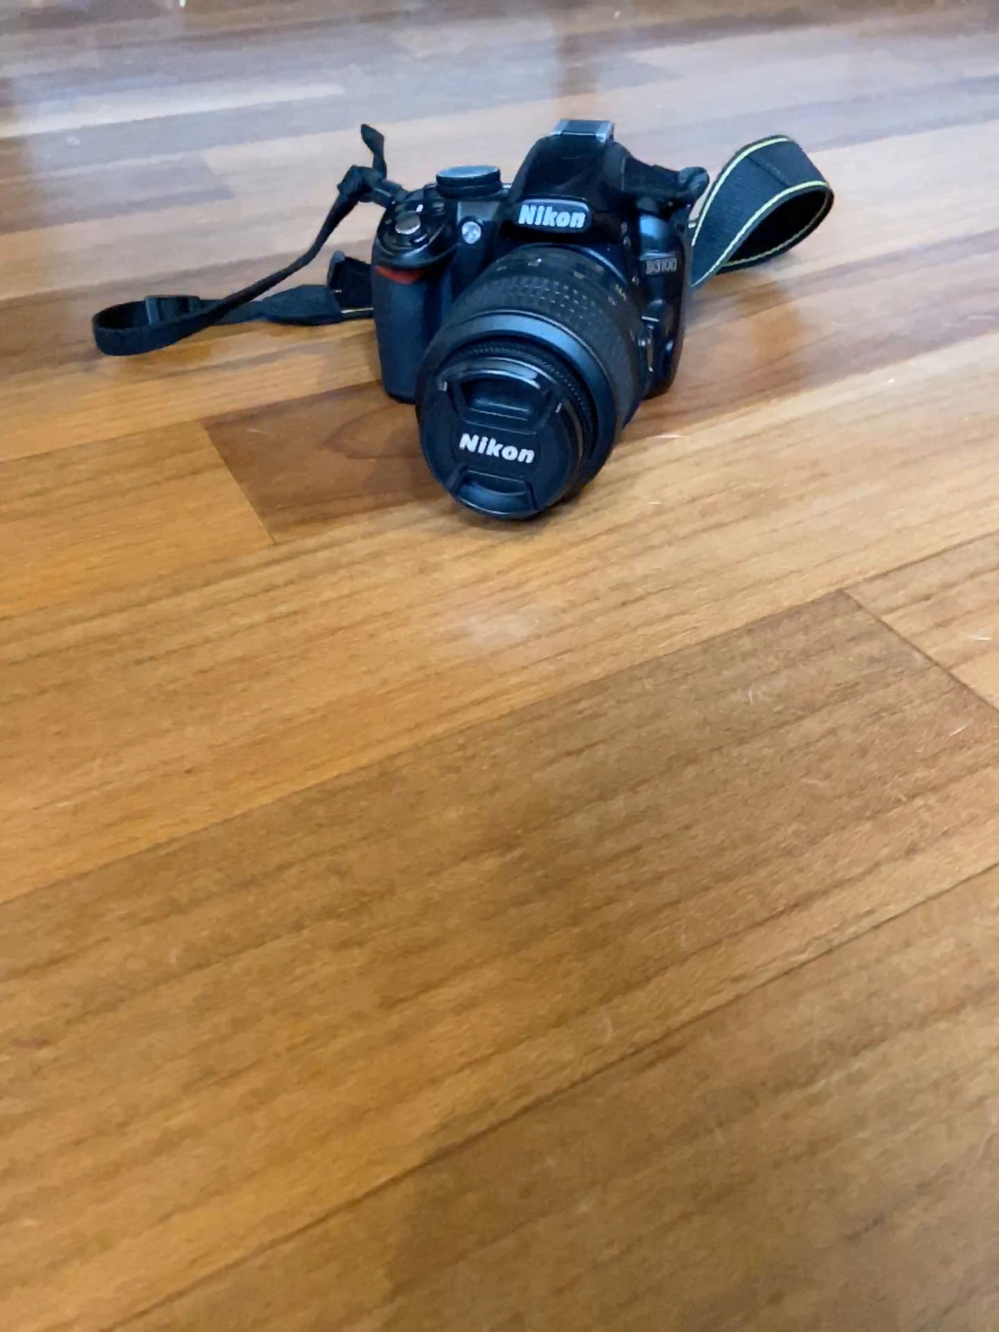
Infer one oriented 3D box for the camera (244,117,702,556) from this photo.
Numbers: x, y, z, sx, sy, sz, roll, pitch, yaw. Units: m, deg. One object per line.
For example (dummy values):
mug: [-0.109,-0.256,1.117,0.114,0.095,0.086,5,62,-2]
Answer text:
camera: [0.003,-0.131,0.379,0.120,0.090,0.162,8,42,10]
